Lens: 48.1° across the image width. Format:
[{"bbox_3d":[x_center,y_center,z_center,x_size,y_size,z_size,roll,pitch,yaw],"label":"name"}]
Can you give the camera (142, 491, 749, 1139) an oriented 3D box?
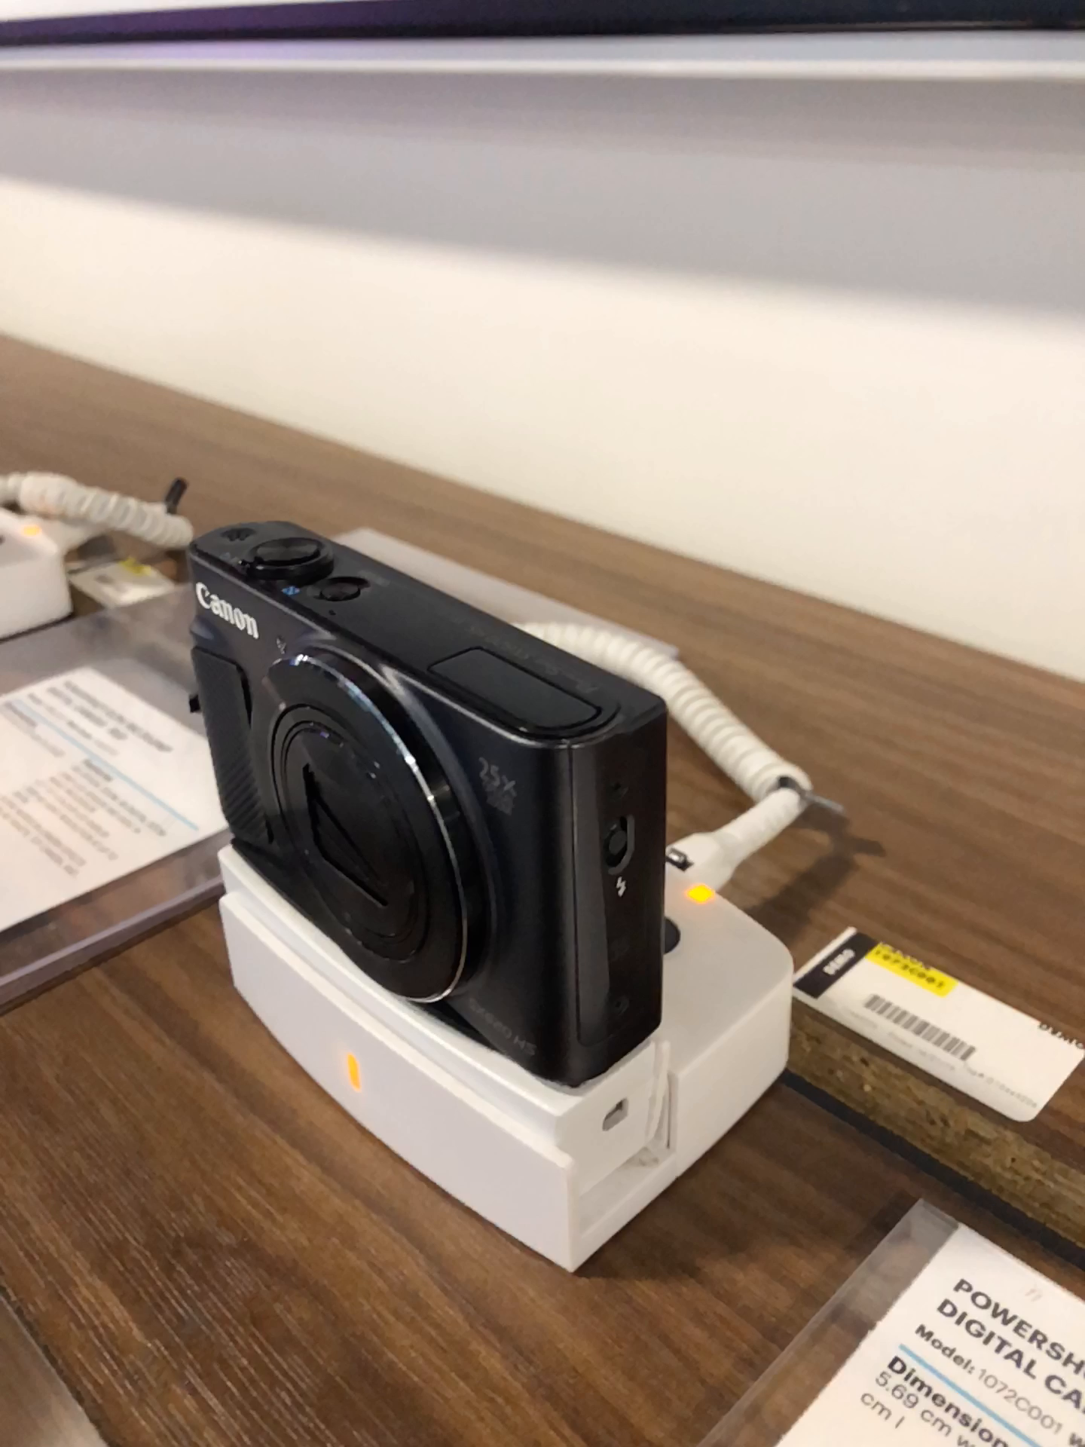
[{"bbox_3d":[-0.020,0.007,0.189,0.030,0.060,0.100,-24,36,-38],"label":"camera"}]
